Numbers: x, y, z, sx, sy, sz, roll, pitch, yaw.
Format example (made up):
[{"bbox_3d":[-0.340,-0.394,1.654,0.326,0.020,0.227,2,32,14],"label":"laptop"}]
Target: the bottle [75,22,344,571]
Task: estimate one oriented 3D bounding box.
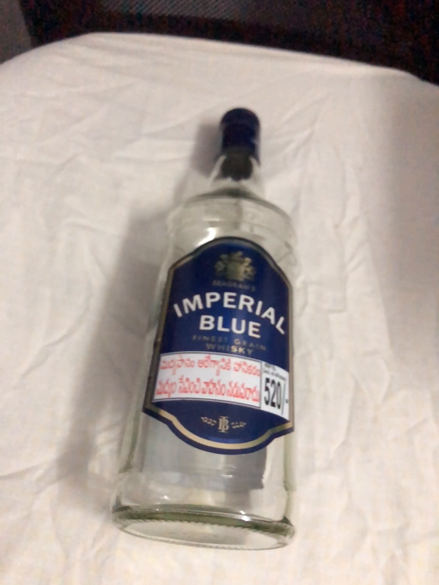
[{"bbox_3d":[0.007,-0.014,0.261,0.090,0.080,0.271,8,62,-3],"label":"bottle"}]
